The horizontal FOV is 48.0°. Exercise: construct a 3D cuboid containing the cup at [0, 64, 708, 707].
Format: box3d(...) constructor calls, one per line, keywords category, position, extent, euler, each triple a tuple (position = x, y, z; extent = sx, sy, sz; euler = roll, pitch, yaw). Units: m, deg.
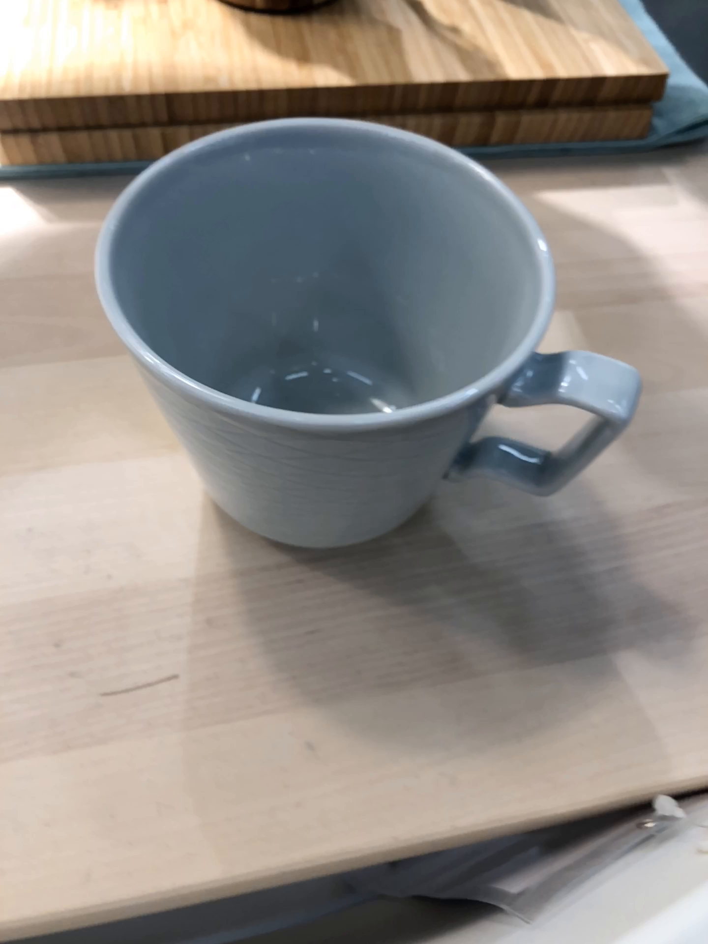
box3d(category="cup", position=(0.005, -0.027, 0.216), extent=(0.140, 0.080, 0.110), euler=(21, 57, 10))
